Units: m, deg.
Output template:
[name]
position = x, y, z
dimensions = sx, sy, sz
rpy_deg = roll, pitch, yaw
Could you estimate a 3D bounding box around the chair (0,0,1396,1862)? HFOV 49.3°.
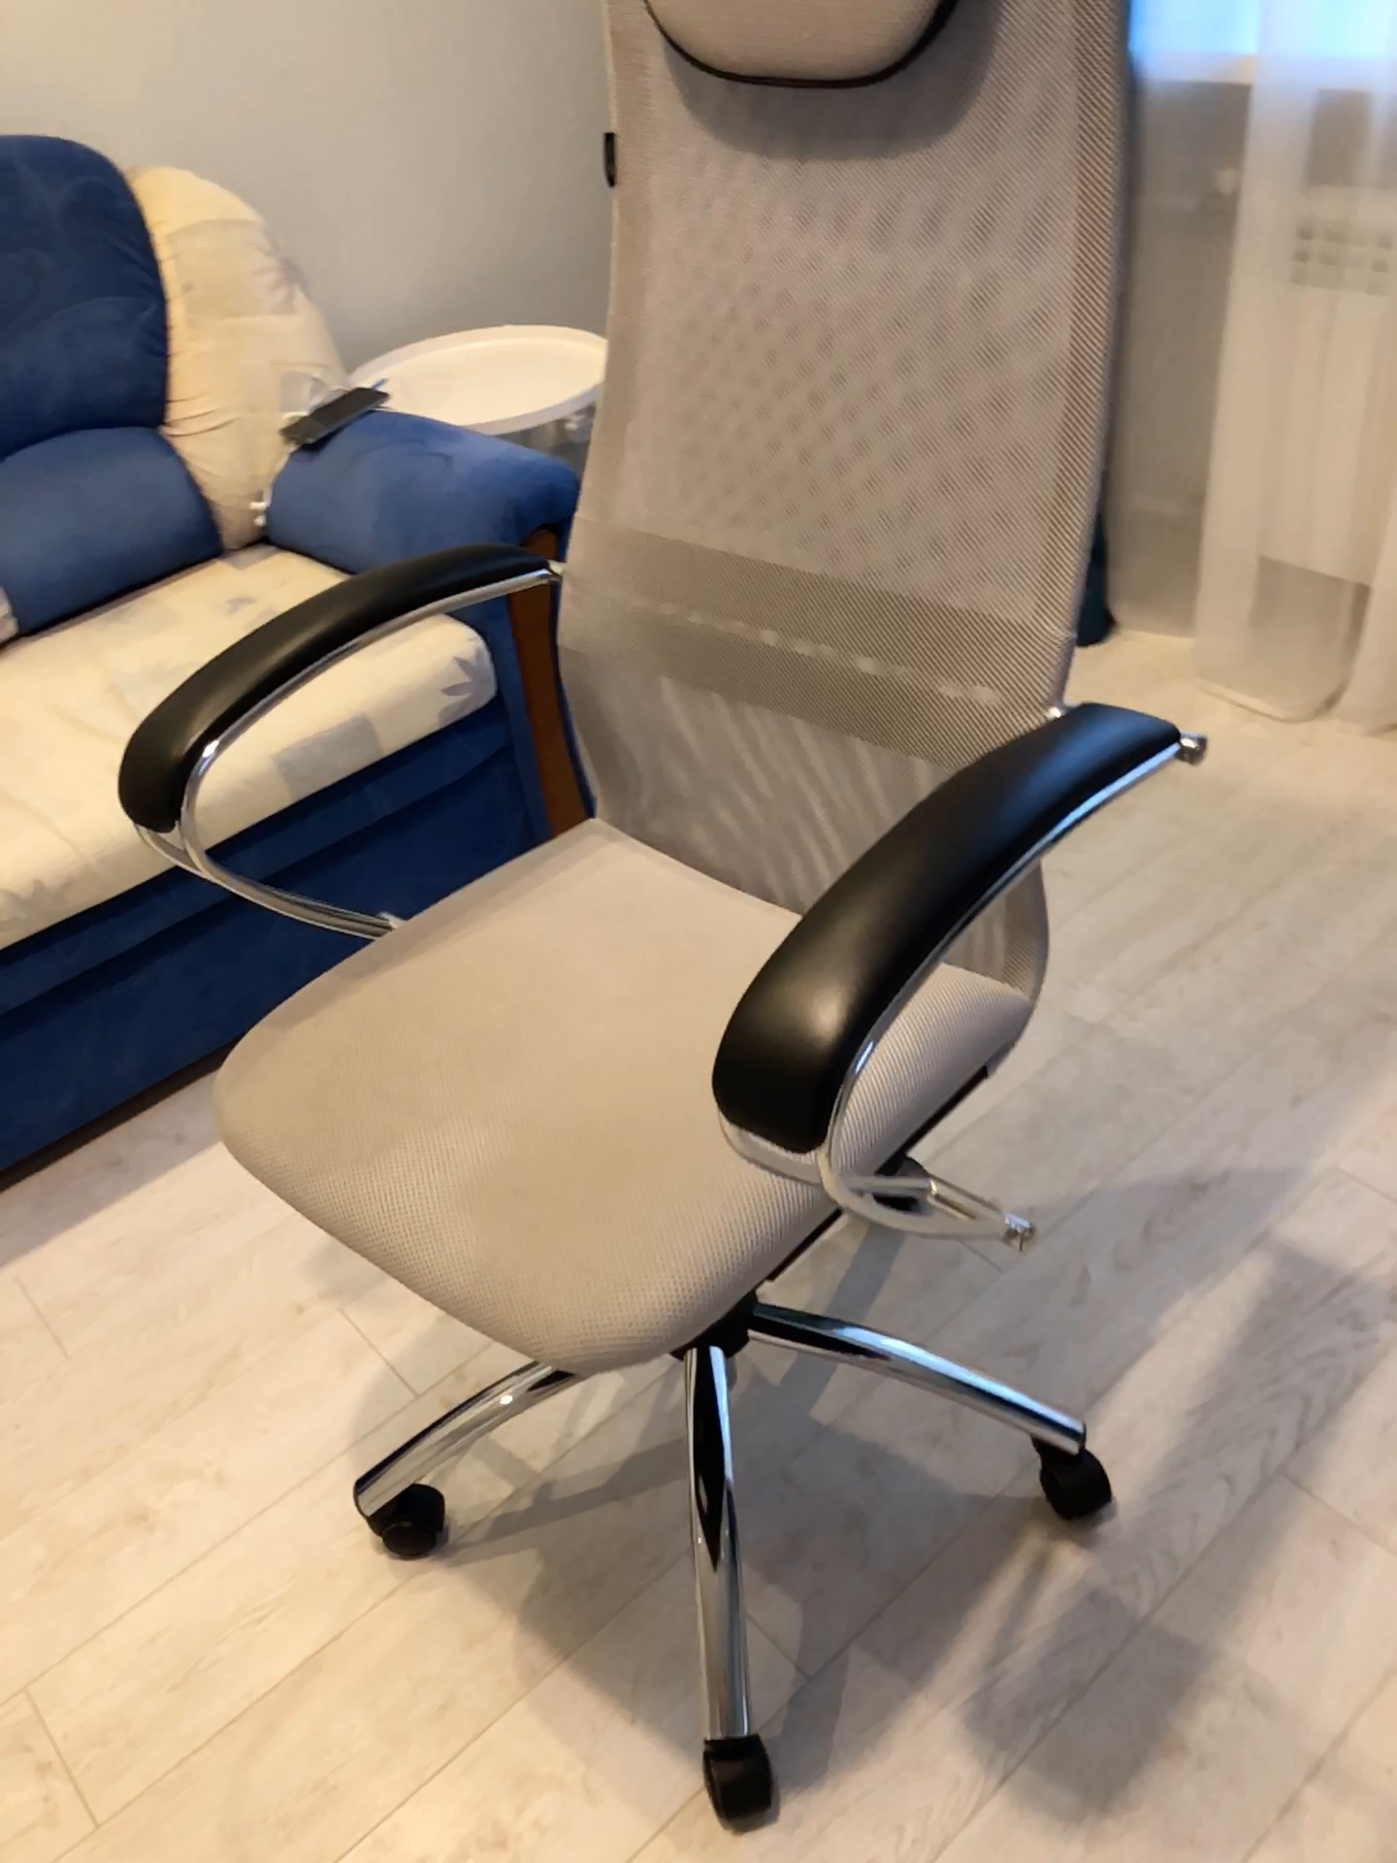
[chair]
position = -0.039, -0.089, 1.026
dimensions = 0.693, 1.152, 0.682
rpy_deg = -34, 43, -30
